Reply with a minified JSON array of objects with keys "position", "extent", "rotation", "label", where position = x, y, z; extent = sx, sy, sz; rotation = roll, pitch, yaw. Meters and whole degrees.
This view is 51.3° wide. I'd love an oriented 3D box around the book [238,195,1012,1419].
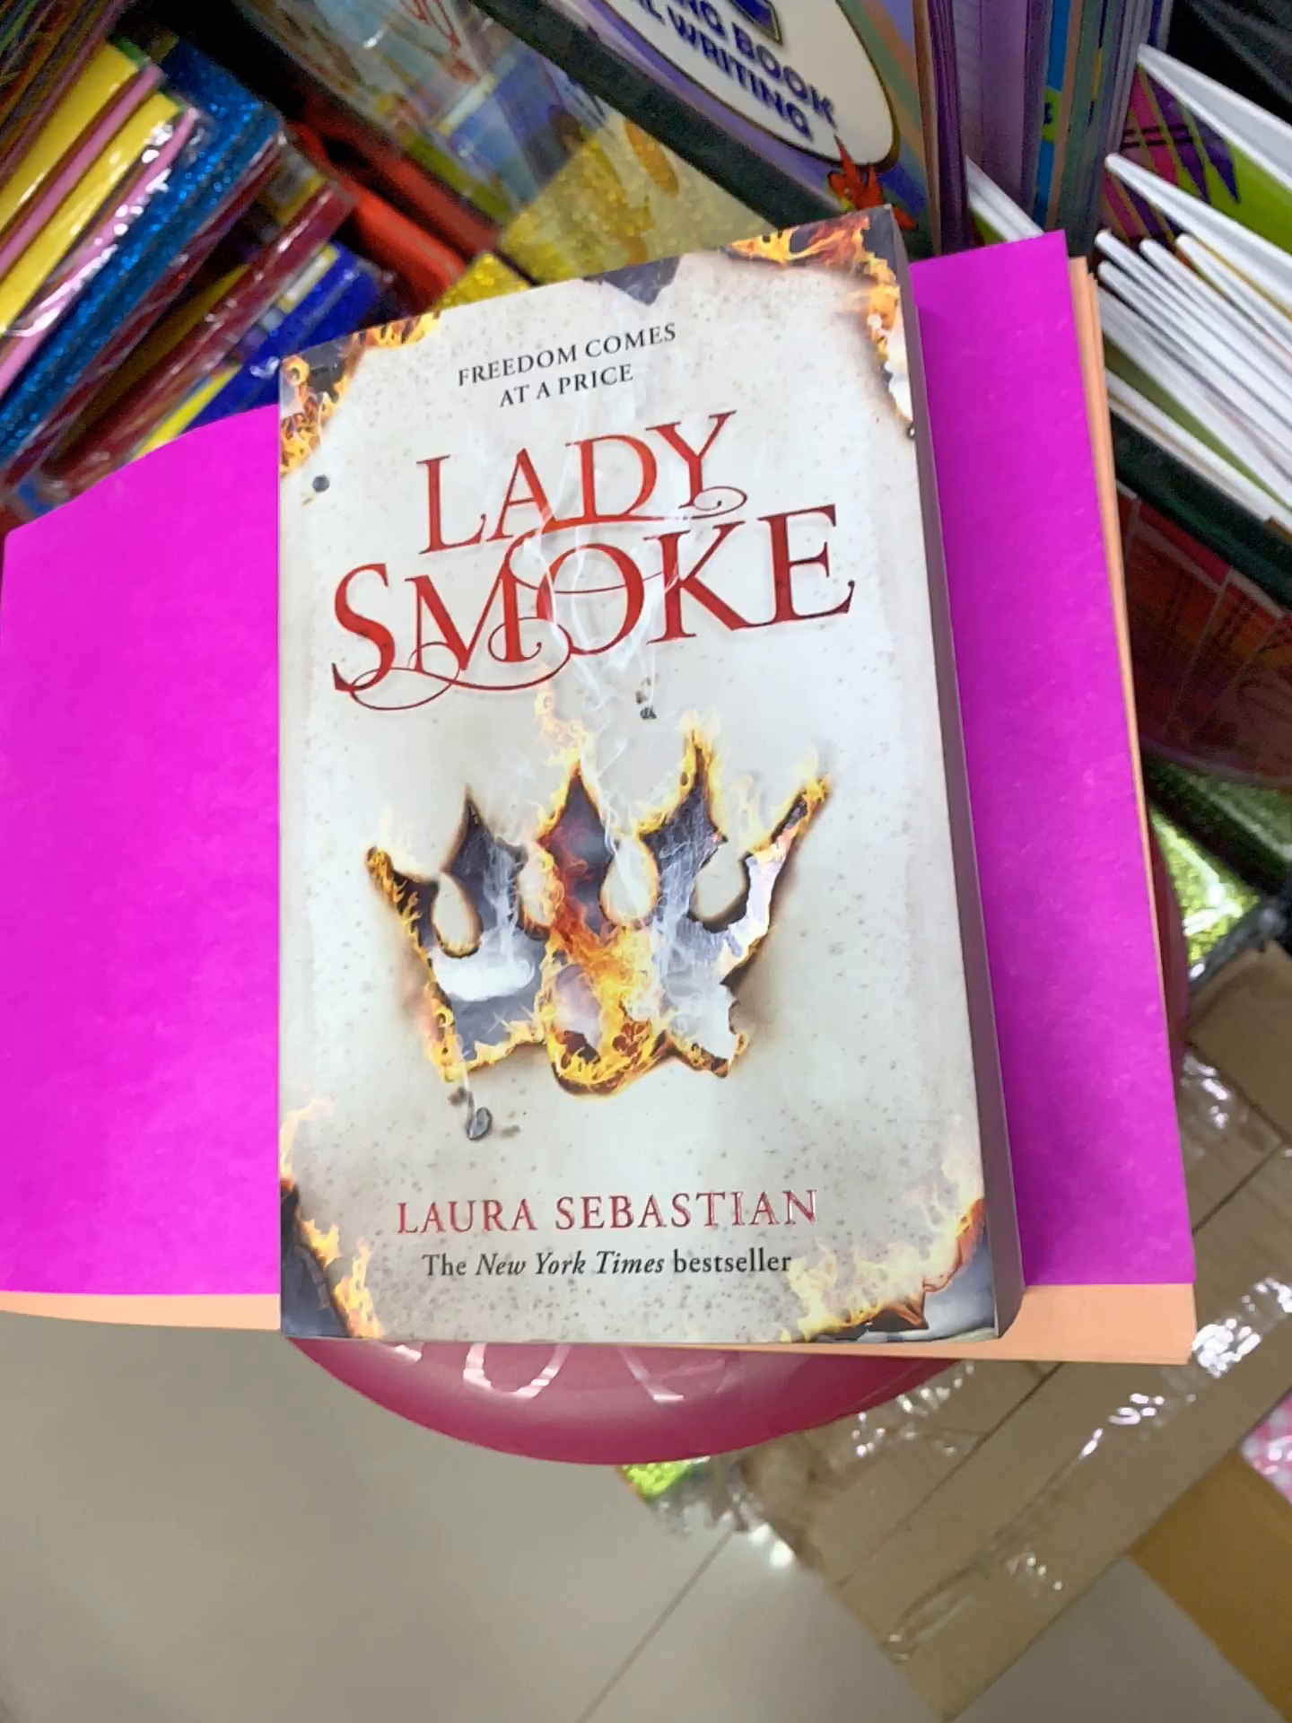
[{"position":[-0.006,-0.007,0.258],"extent":[0.130,0.050,0.200],"rotation":[-5,83,15],"label":"book"}]
